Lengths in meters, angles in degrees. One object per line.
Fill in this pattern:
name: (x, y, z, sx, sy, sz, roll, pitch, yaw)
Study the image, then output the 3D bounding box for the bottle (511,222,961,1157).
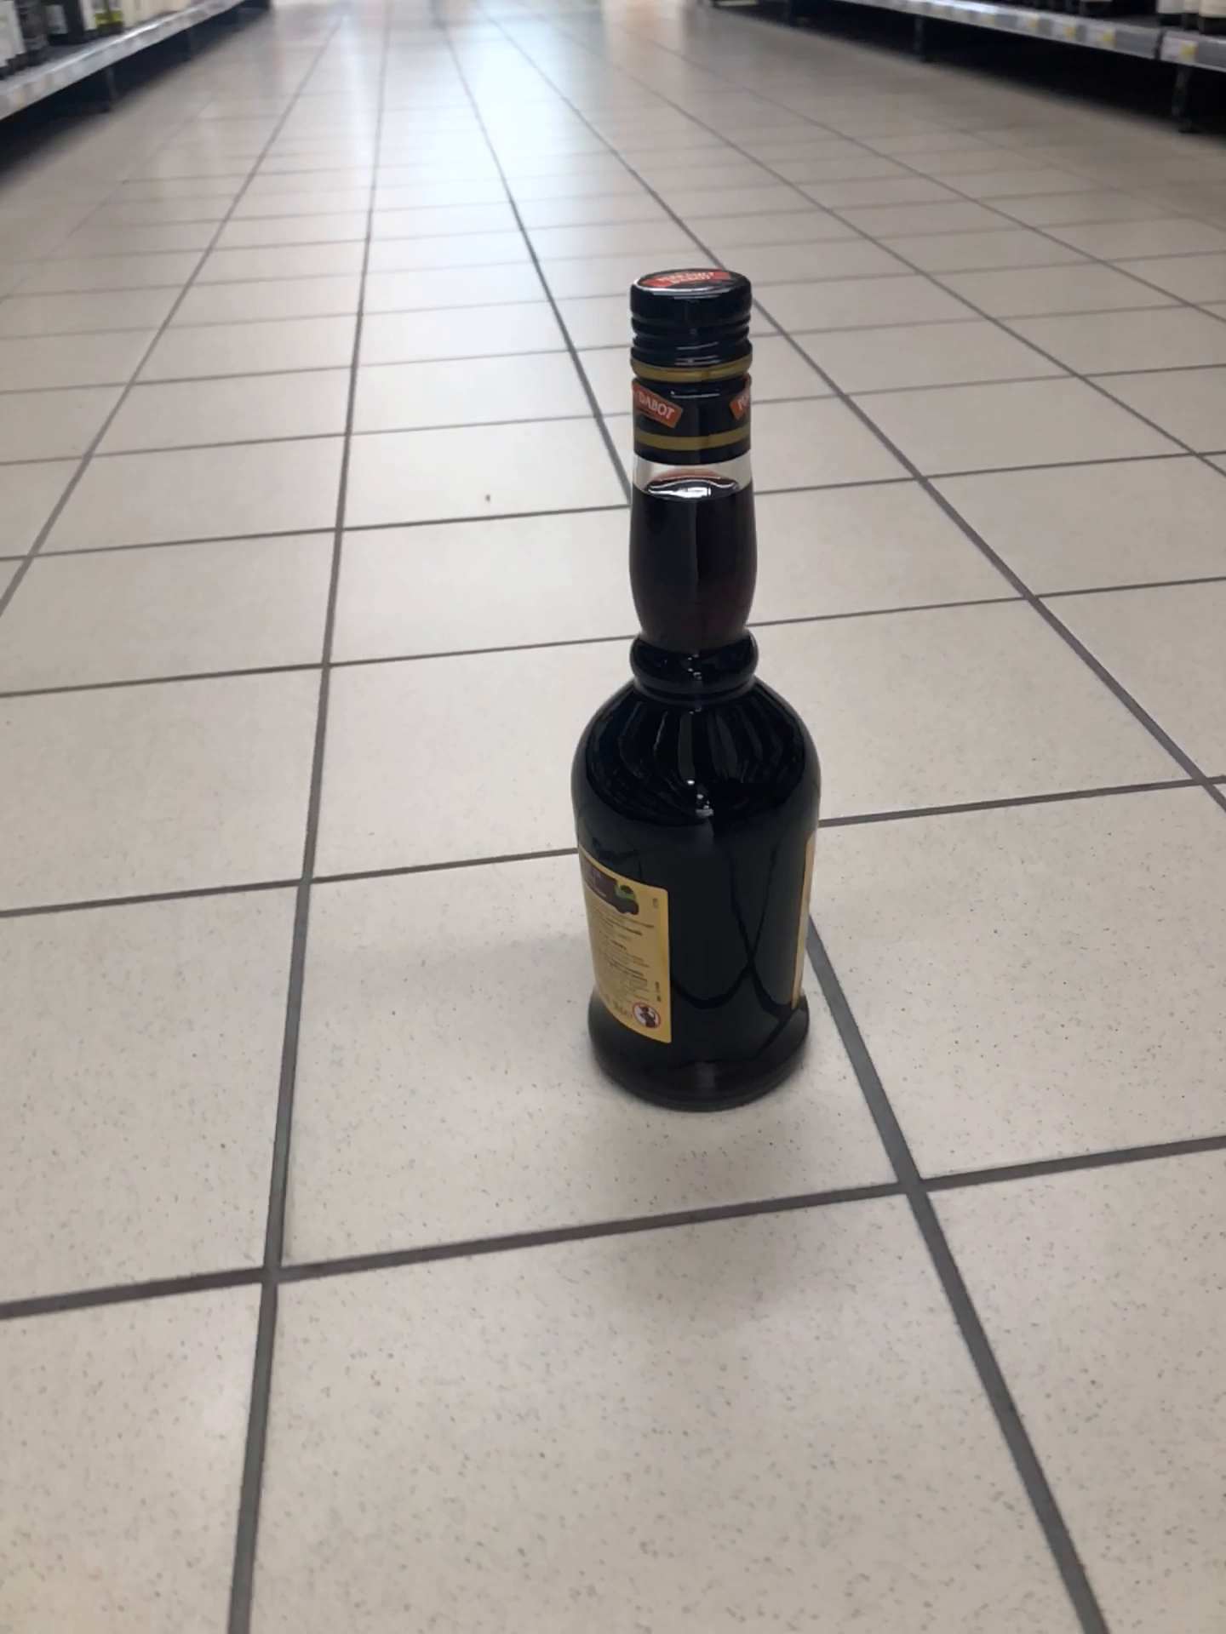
bottle: (0.033, -0.032, 0.413, 0.080, 0.258, 0.090, -16, 35, -21)
